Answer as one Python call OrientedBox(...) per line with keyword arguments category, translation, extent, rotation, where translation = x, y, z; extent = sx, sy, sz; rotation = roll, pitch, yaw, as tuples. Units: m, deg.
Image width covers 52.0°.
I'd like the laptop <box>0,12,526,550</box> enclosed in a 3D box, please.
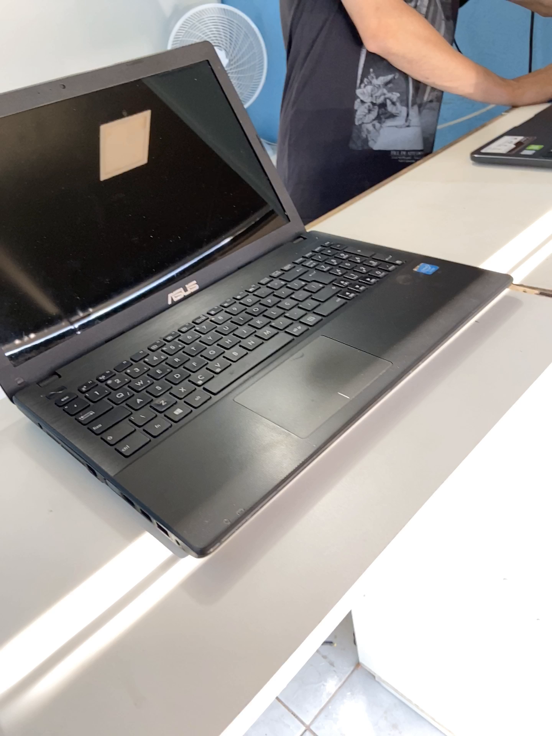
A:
OrientedBox(category="laptop", translation=(-0.061, -0.130, 0.472), extent=(0.362, 0.200, 0.368), rotation=(24, 48, 40))
